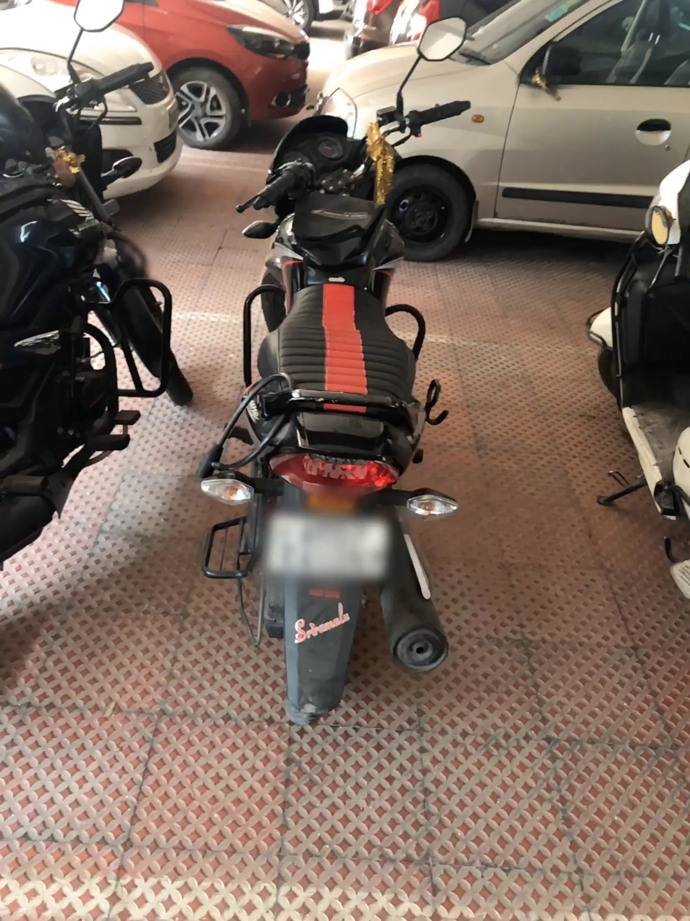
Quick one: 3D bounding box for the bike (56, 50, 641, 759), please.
[{"bbox_3d":[-0.164,-0.282,1.871,0.746,1.010,1.562,-1,36,-10],"label":"bike"}]
